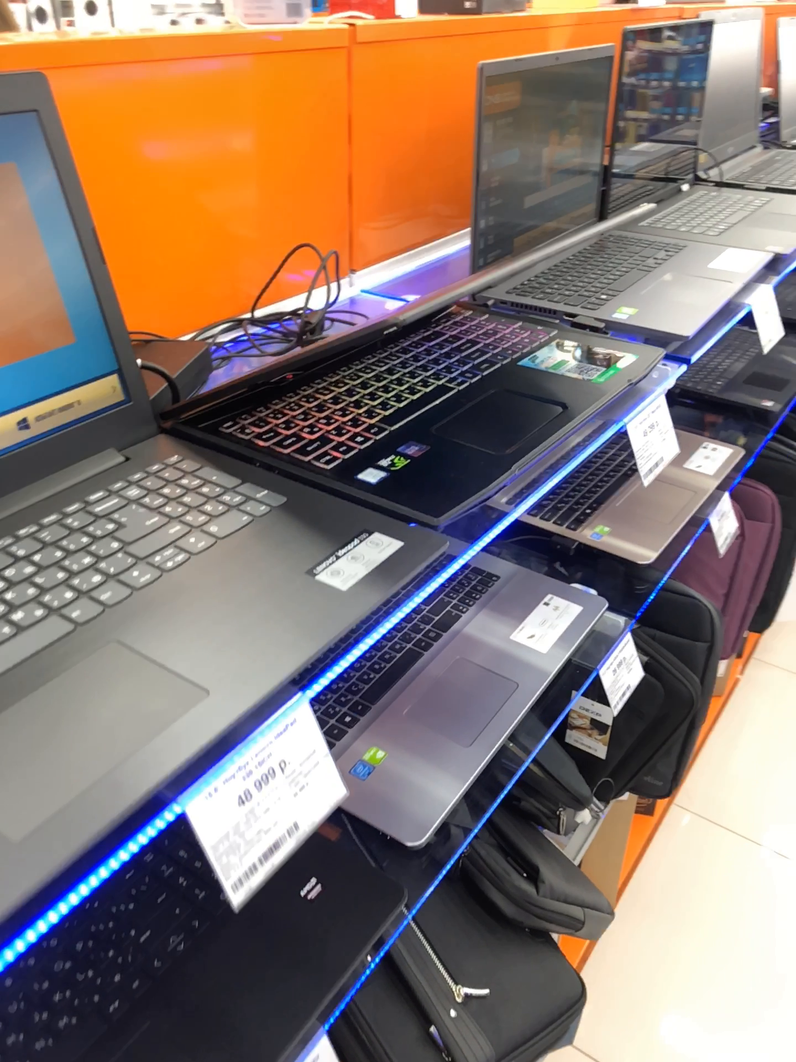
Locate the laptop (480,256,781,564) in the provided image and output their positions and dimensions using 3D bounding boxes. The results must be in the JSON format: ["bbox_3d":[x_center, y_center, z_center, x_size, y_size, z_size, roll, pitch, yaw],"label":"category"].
[{"bbox_3d":[0.309,-0.180,1.156,0.230,0.240,0.360,21,38,29],"label":"laptop"}]

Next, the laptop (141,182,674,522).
[{"bbox_3d":[0.029,-0.172,0.690,0.243,0.121,0.365,21,36,28],"label":"laptop"}]

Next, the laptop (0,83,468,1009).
[{"bbox_3d":[-0.208,-0.066,0.409,0.318,0.228,0.360,20,35,28],"label":"laptop"}]

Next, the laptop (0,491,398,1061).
[{"bbox_3d":[-0.226,0.210,0.514,0.273,0.270,0.408,20,36,29],"label":"laptop"}]

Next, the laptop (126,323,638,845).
[{"bbox_3d":[0.006,0.009,0.848,0.287,0.256,0.395,21,37,28],"label":"laptop"}]

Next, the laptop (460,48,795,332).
[{"bbox_3d":[0.268,-0.392,0.962,0.230,0.216,0.353,18,36,25],"label":"laptop"}]
